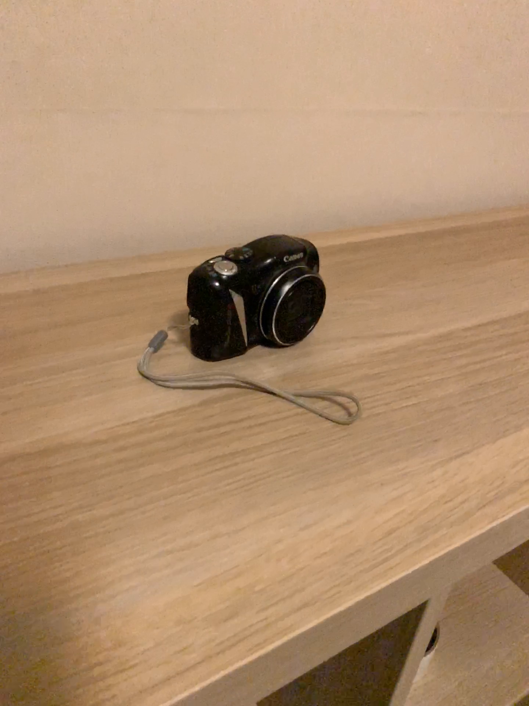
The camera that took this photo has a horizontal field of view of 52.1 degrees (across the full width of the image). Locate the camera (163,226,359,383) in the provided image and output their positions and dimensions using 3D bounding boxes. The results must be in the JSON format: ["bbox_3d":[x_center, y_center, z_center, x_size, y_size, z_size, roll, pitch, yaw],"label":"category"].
[{"bbox_3d":[-0.001,-0.040,0.379,0.068,0.059,0.121,28,37,34],"label":"camera"}]
